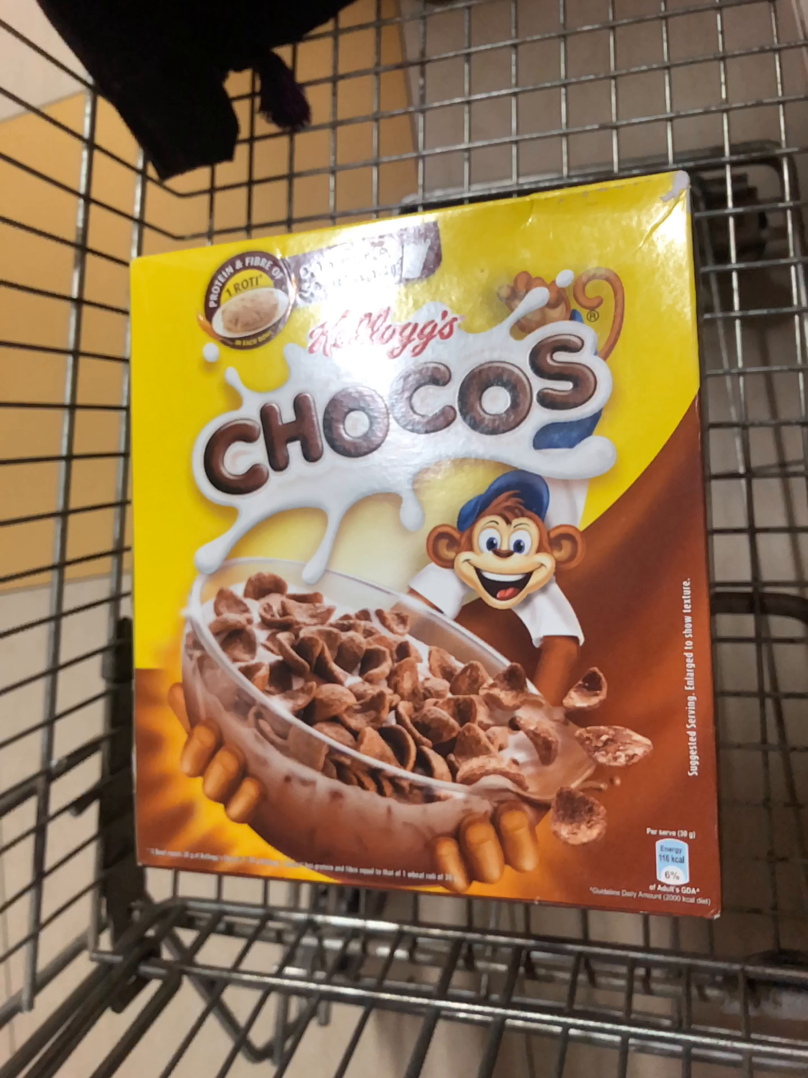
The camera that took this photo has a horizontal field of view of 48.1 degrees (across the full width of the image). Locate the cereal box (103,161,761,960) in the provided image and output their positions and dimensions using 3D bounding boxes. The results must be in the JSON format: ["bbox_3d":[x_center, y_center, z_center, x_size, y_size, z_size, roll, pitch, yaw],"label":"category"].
[{"bbox_3d":[0.007,0.008,0.278,0.180,0.070,0.190,-2,88,19],"label":"cereal box"}]
